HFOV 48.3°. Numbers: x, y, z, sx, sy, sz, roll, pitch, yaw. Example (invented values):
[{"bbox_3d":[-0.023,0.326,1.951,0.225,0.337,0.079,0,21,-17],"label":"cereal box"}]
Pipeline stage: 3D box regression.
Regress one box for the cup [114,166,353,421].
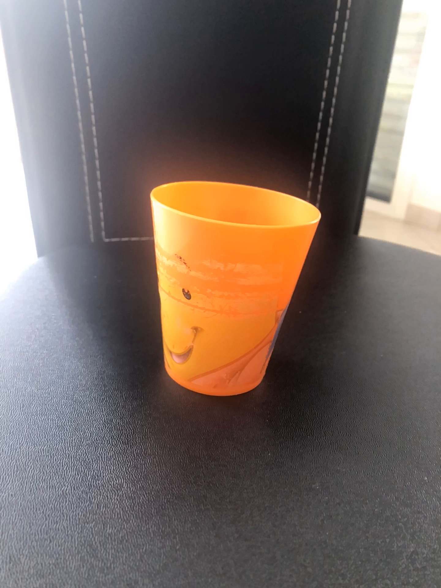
[{"bbox_3d":[0.003,-0.009,0.251,0.080,0.090,0.080,4,25,-2],"label":"cup"}]
